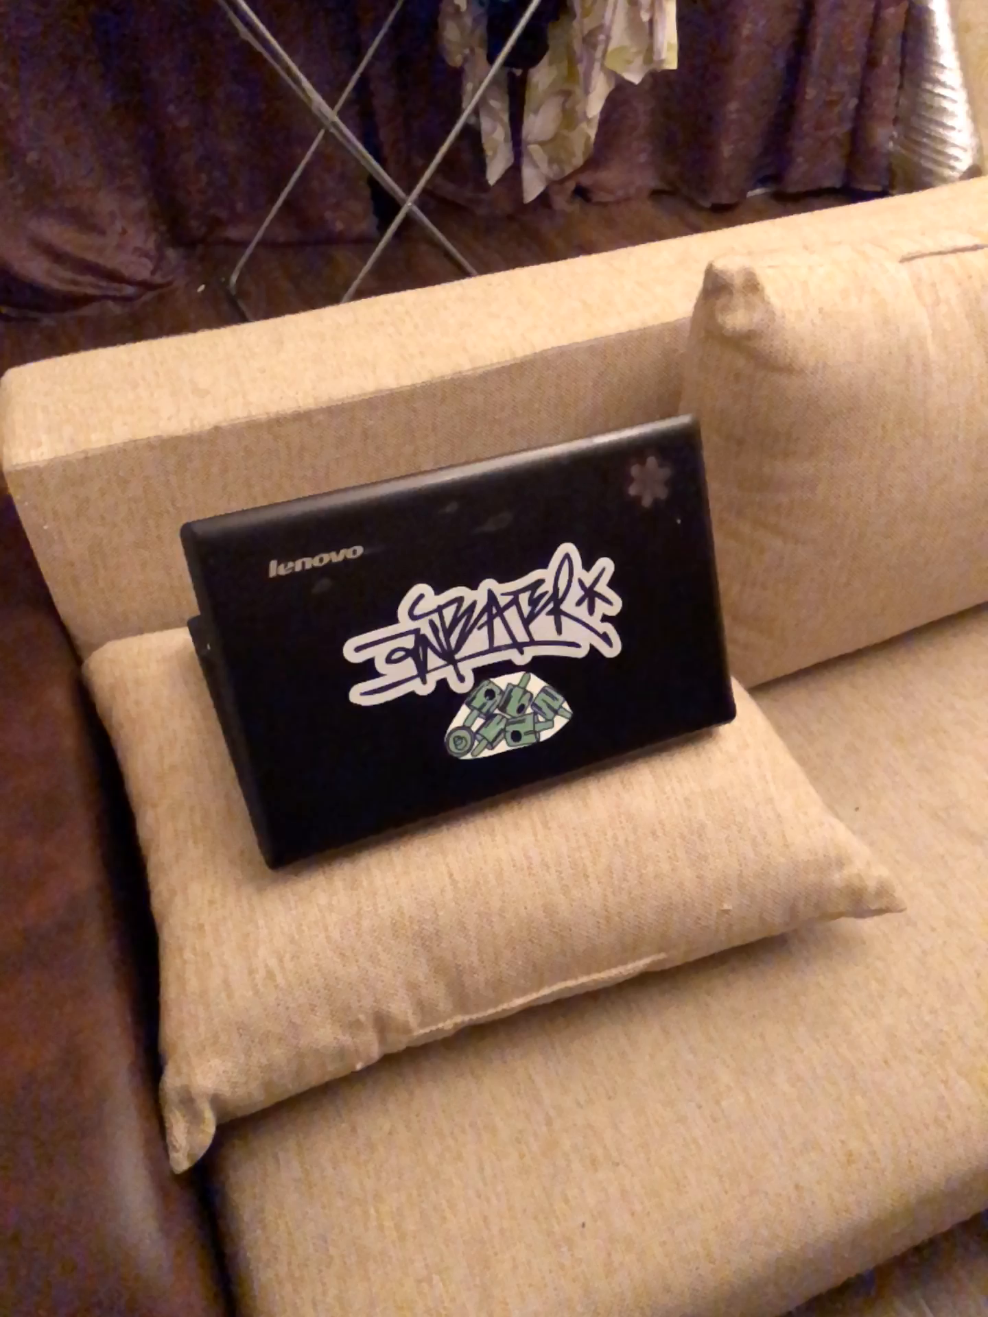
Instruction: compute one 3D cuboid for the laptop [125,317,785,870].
[{"bbox_3d":[-0.033,-0.069,0.875,0.413,0.222,0.268,-16,51,-18],"label":"laptop"}]
